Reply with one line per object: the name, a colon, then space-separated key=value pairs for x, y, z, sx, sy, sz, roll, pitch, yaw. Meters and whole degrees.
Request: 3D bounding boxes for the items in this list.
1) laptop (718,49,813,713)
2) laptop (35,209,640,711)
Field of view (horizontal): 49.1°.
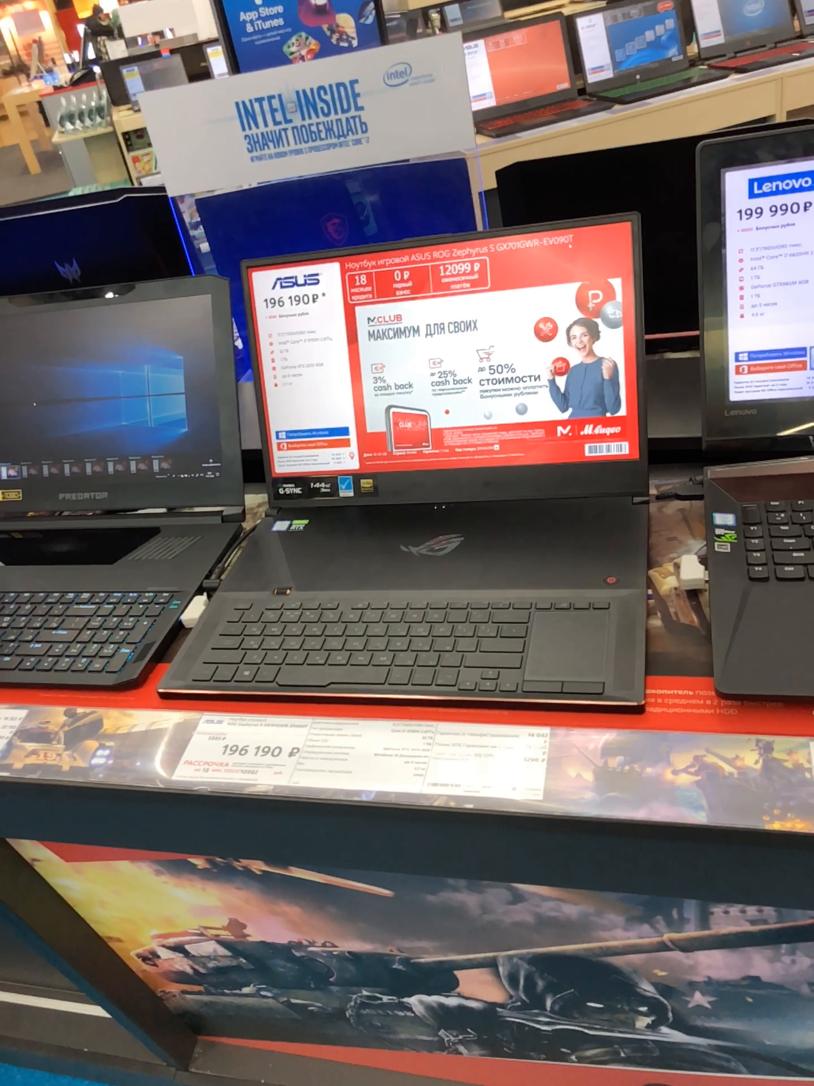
laptop: x=0.425 y=-0.131 z=0.629 sx=0.374 sy=0.248 sz=0.413 roll=-2 pitch=35 yaw=20
laptop: x=-0.006 y=-0.087 z=0.771 sx=0.391 sy=0.240 sz=0.379 roll=-1 pitch=35 yaw=16
